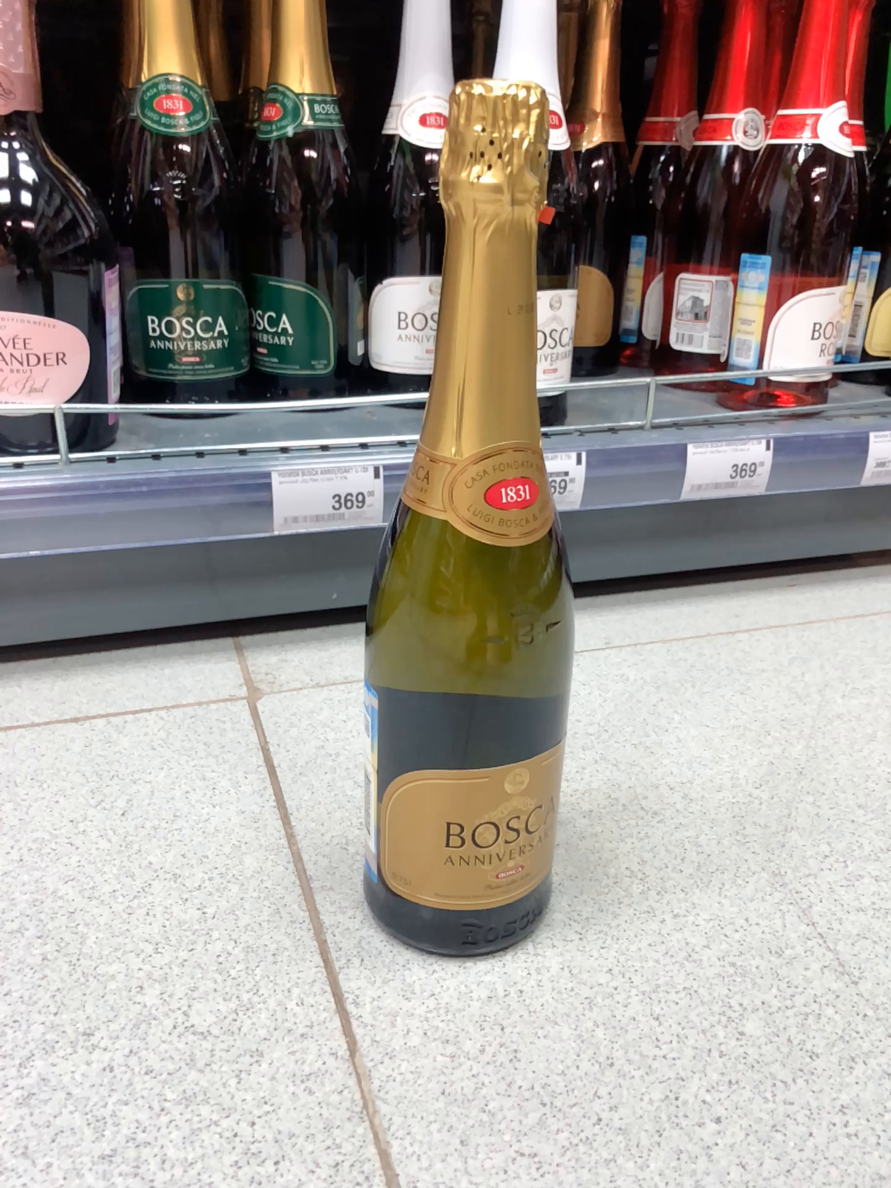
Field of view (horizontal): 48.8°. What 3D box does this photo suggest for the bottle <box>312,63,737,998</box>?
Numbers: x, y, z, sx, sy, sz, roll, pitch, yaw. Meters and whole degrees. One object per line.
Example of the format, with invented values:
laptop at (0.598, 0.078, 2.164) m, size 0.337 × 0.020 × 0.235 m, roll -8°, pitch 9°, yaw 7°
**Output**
bottle at (0.015, -0.017, 0.373) m, size 0.100 × 0.314 × 0.100 m, roll 2°, pitch 23°, yaw -1°
